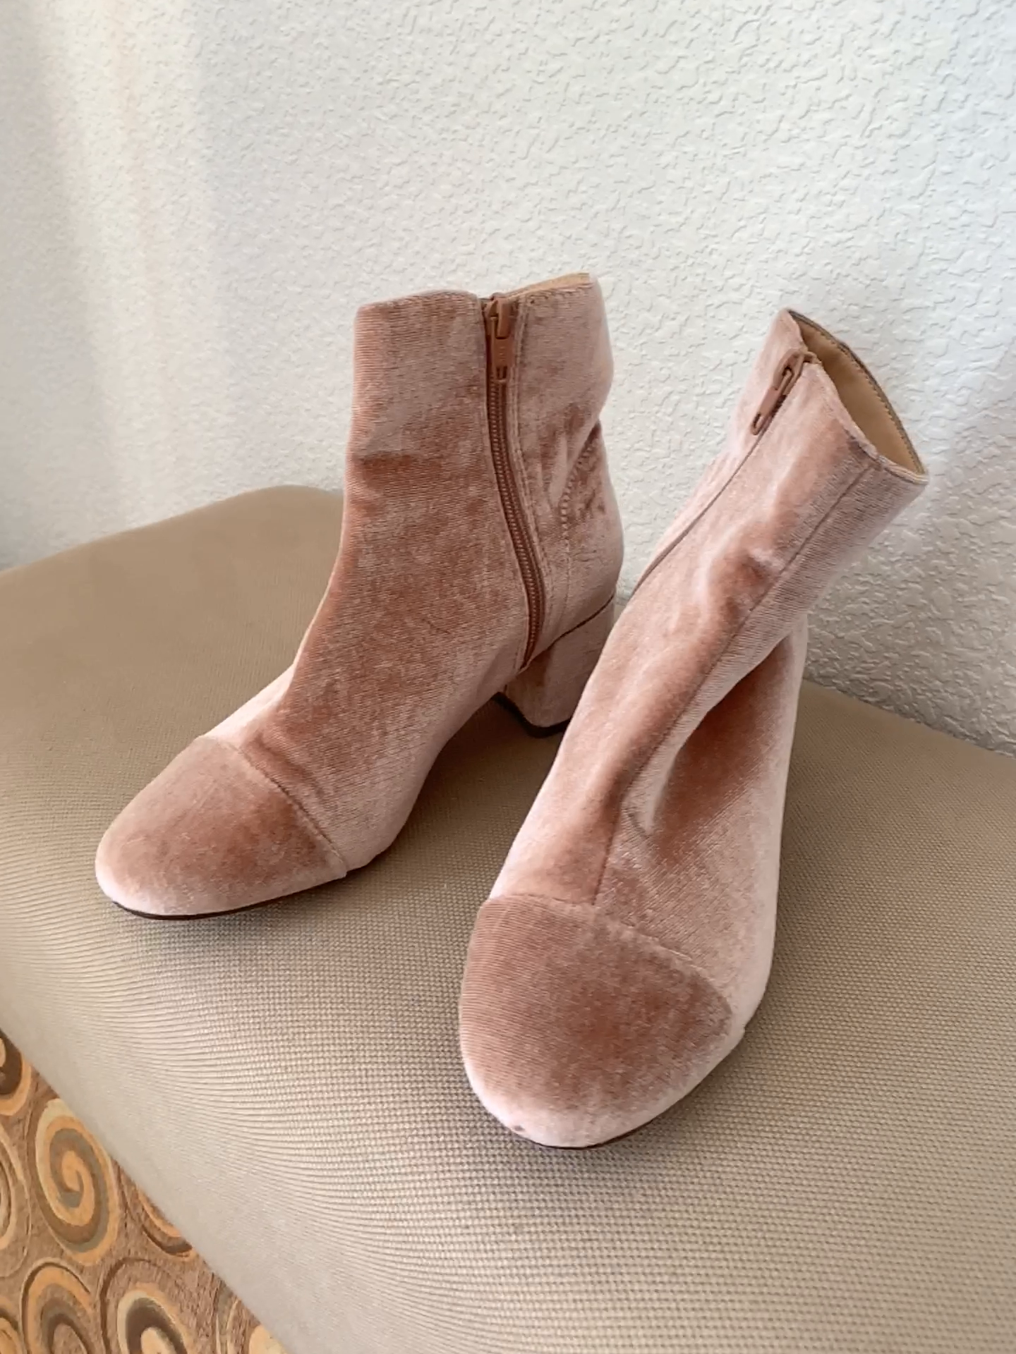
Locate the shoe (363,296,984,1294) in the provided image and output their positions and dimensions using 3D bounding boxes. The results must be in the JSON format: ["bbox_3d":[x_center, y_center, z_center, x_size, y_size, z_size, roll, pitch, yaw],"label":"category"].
[{"bbox_3d":[0.070,0.000,0.330,0.100,0.169,0.271,14,34,19],"label":"shoe"}]

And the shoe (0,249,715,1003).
[{"bbox_3d":[-0.045,-0.038,0.365,0.100,0.169,0.231,27,40,35],"label":"shoe"}]
